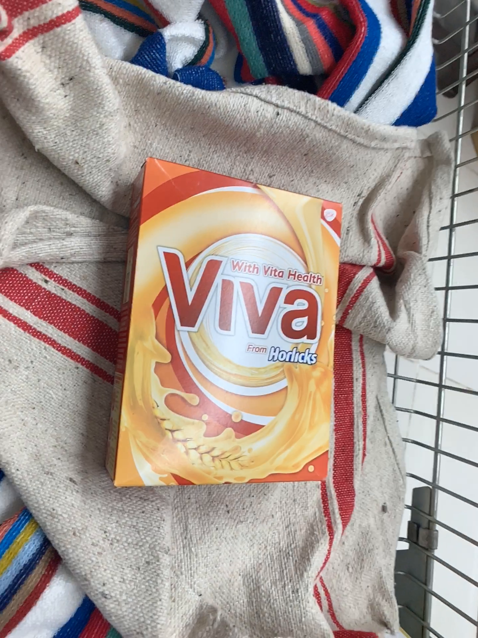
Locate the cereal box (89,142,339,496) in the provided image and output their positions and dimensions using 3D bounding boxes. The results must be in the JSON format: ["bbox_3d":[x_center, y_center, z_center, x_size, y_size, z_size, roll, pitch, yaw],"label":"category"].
[{"bbox_3d":[-0.015,0.006,0.339,0.140,0.070,0.200,7,84,-27],"label":"cereal box"}]
